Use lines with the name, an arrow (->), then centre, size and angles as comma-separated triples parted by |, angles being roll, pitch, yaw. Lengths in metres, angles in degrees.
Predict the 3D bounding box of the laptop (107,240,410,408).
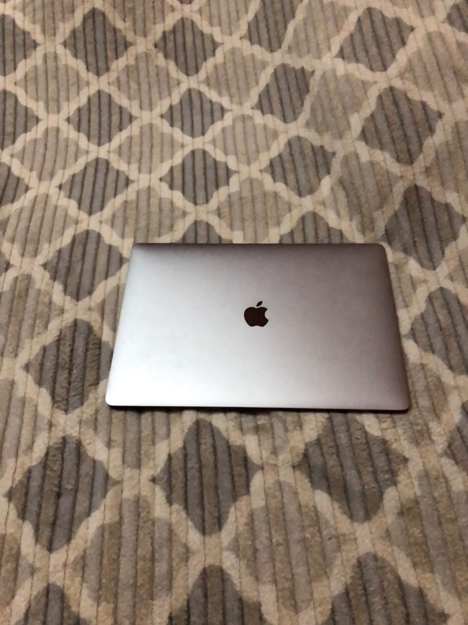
laptop -> 0.029, 0.003, 0.678 | 0.358, 0.007, 0.247 | 1, 57, 3
